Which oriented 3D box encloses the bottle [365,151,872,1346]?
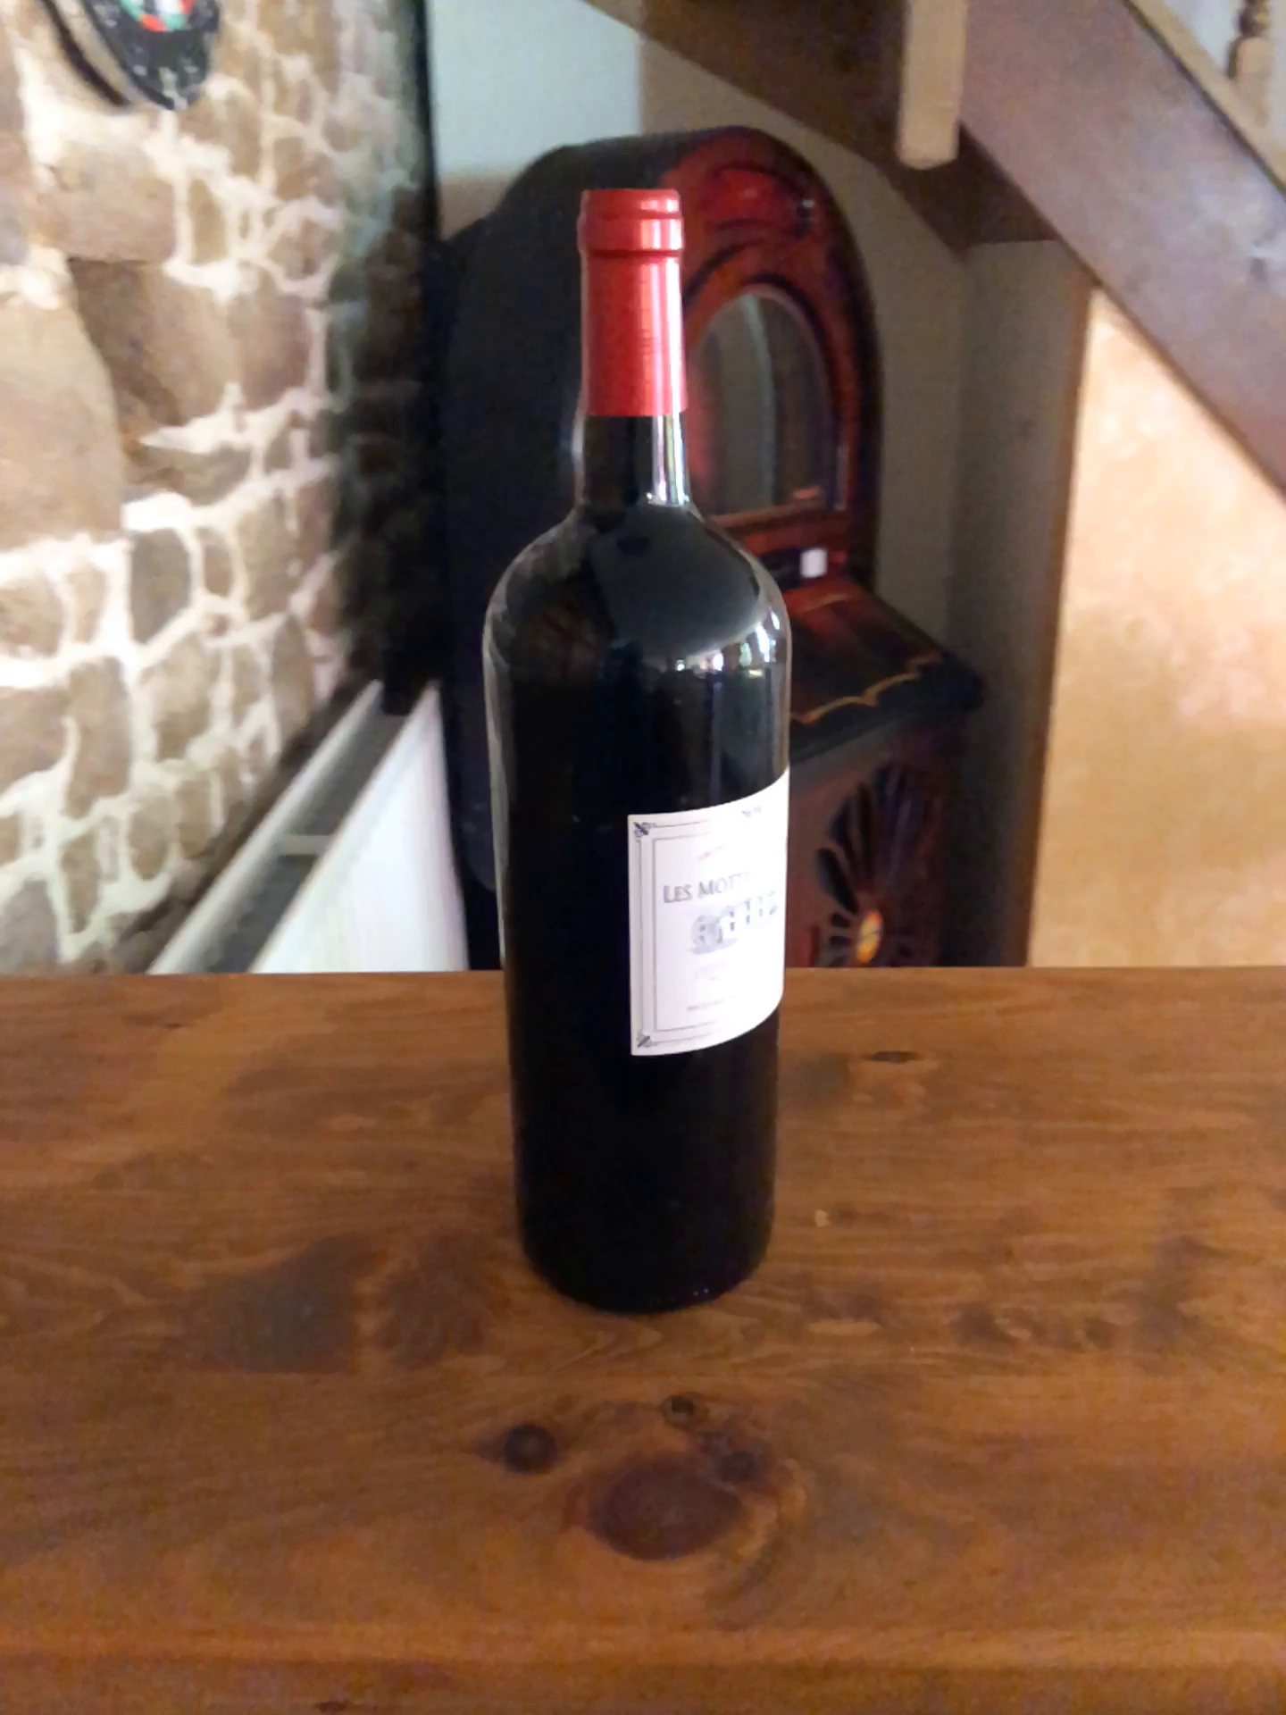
[{"bbox_3d":[-0.005,-0.030,0.459,0.100,0.348,0.100,-1,22,0],"label":"bottle"}]
